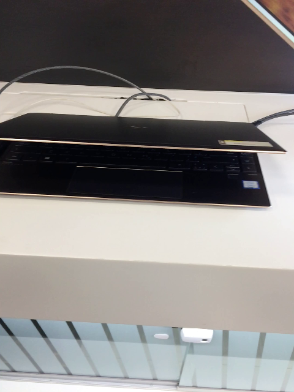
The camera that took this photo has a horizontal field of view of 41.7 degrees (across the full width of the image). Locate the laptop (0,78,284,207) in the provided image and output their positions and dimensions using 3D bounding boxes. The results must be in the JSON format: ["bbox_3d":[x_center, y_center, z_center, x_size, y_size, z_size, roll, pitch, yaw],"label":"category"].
[{"bbox_3d":[-0.025,-0.081,0.509,0.348,0.072,0.196,3,39,4],"label":"laptop"}]
